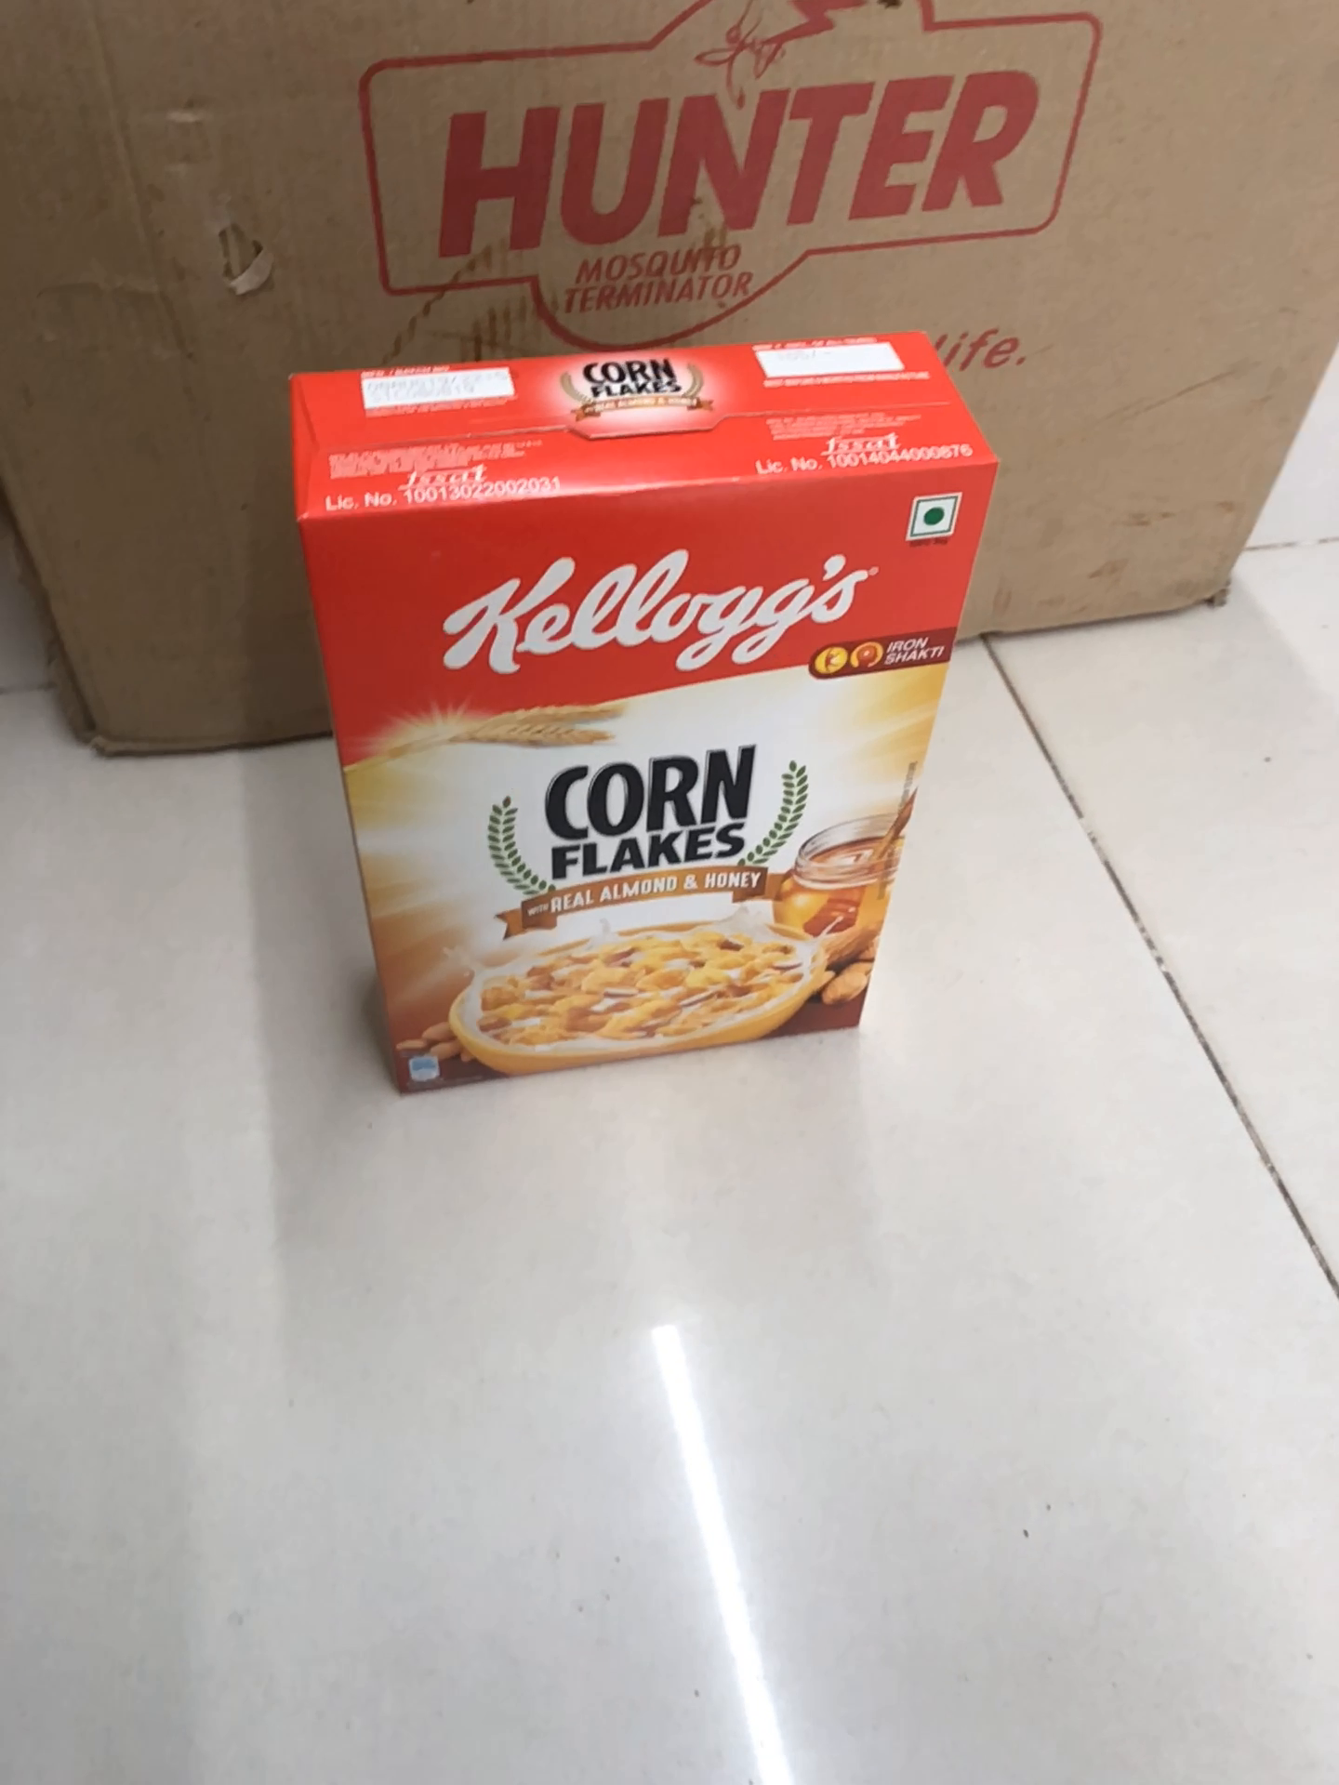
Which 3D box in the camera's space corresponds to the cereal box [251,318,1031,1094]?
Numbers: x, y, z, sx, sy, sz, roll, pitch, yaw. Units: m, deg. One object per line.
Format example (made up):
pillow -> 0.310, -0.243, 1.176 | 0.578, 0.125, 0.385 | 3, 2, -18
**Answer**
cereal box -> -0.014, -0.047, 0.500 | 0.200, 0.259, 0.070 | -8, 51, -9
